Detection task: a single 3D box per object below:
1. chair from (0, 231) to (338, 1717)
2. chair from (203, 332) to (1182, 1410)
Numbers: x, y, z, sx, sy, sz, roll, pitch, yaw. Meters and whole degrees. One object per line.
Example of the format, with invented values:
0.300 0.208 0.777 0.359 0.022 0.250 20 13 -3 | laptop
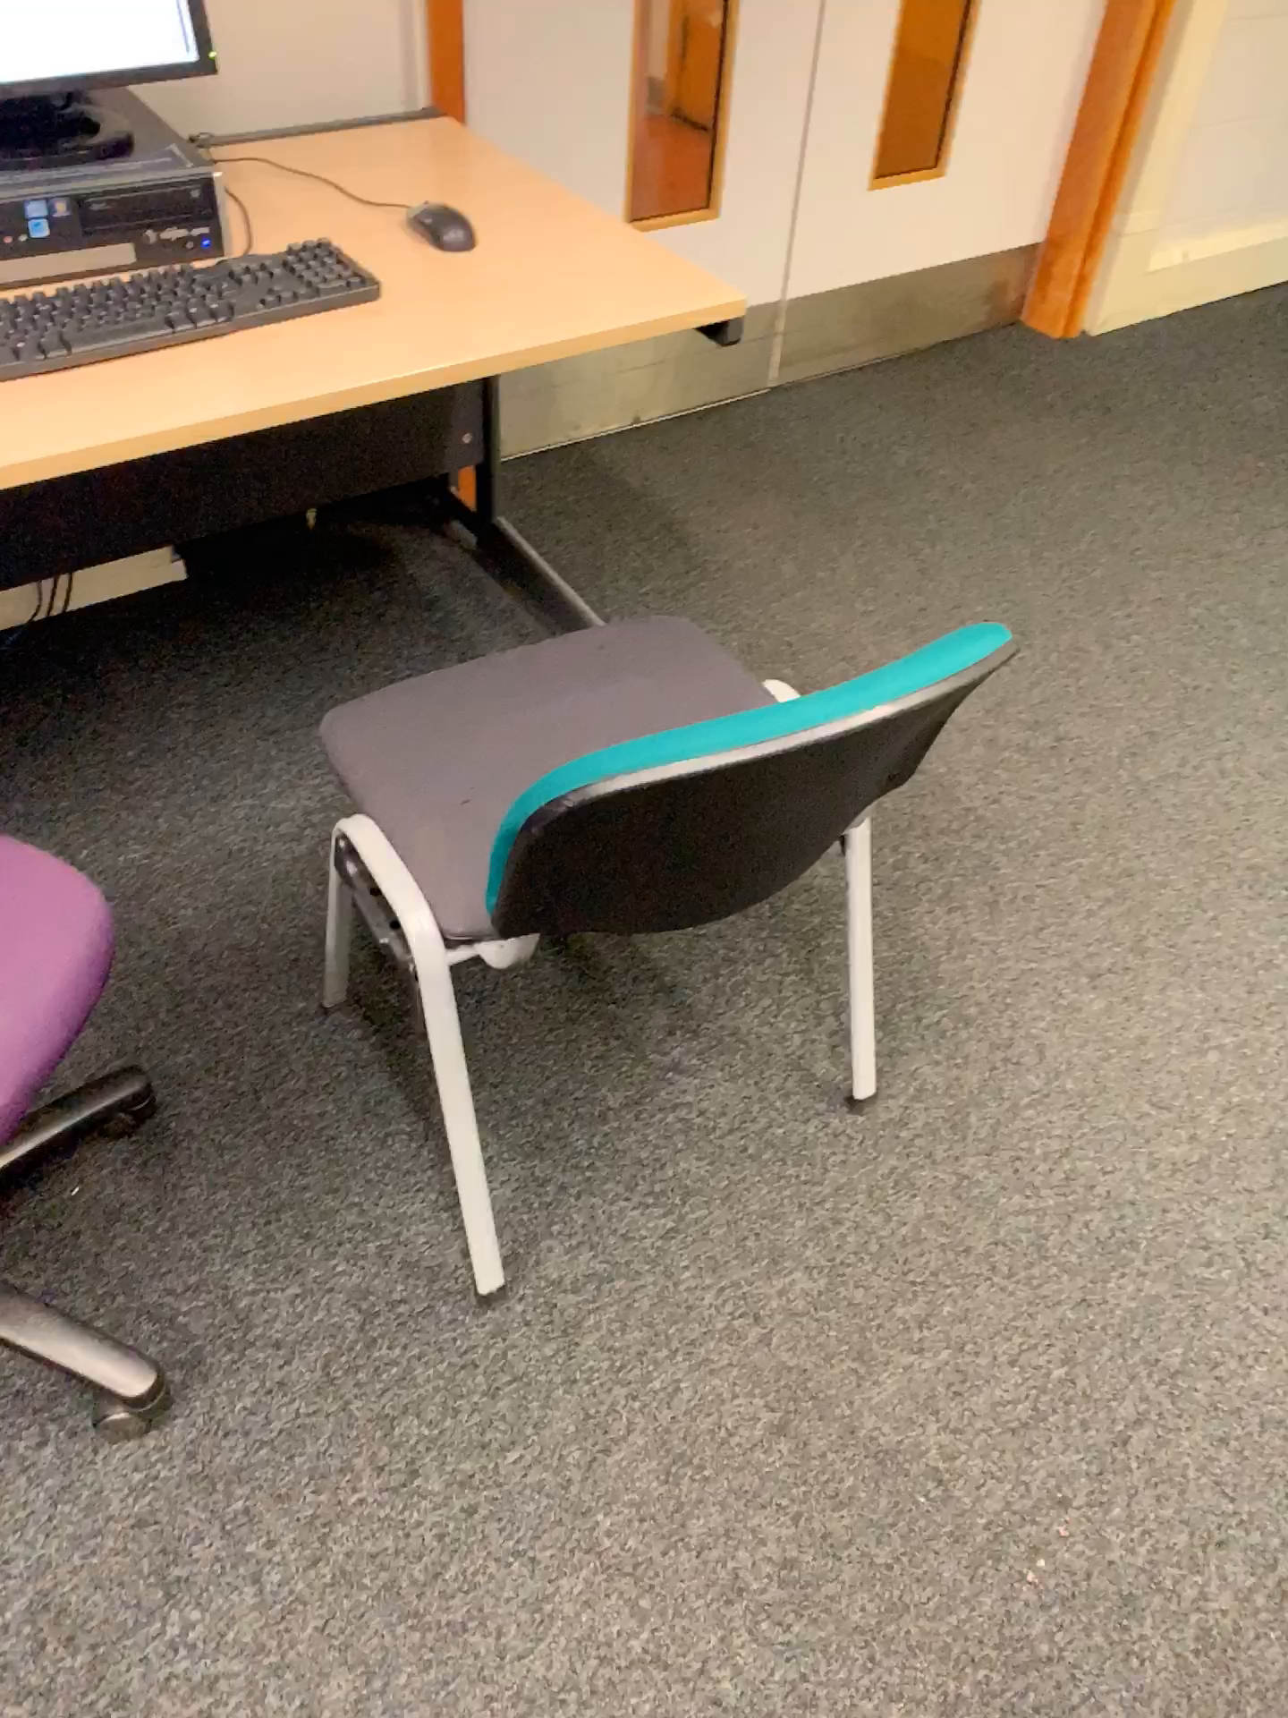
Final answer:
-0.710 0.129 0.988 0.668 0.860 0.658 10 44 6 | chair
-0.004 -0.009 1.308 0.554 0.721 0.602 -22 50 -26 | chair
